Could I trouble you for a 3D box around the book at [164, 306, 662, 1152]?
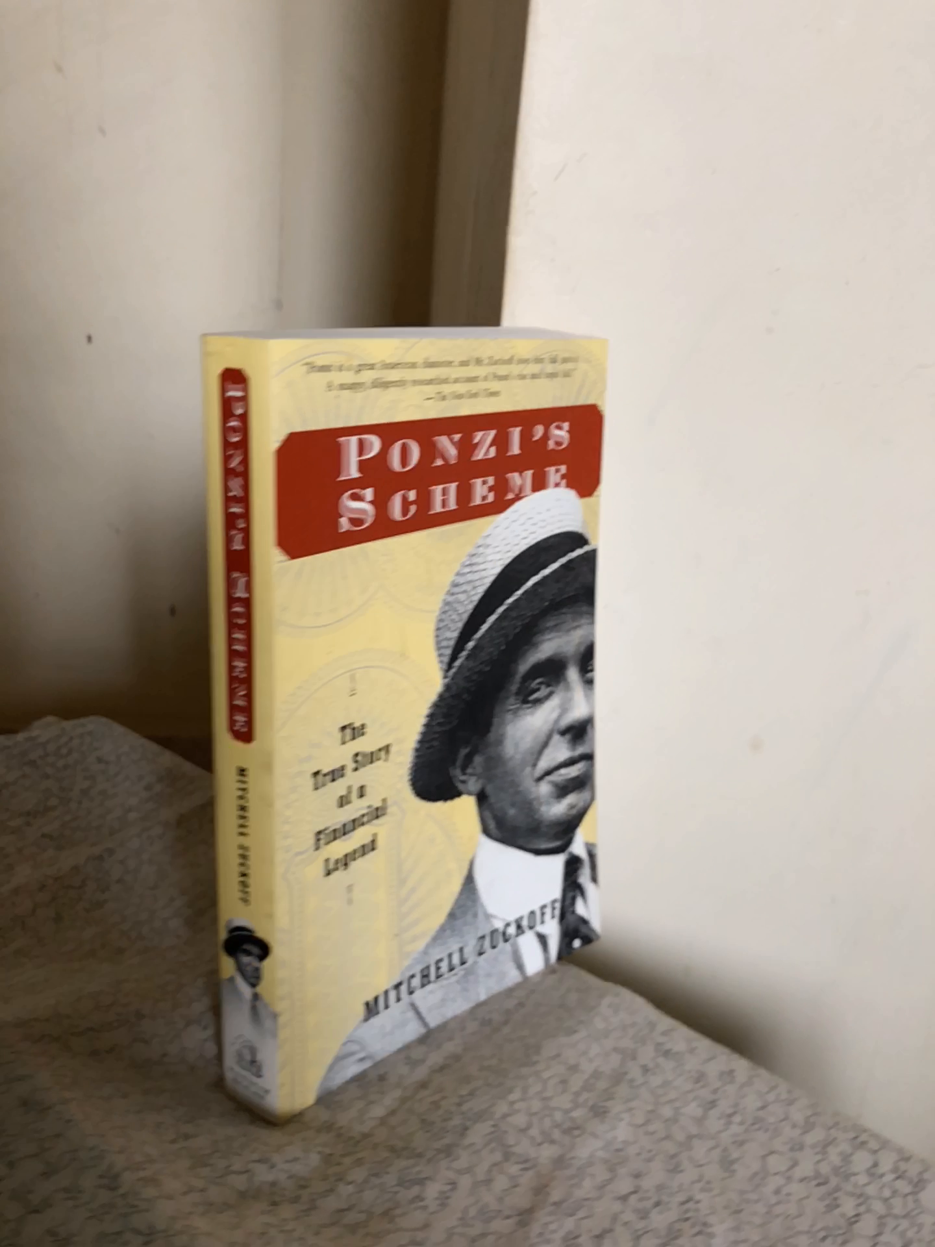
[{"bbox_3d":[-0.009,0.019,0.303,0.040,0.209,0.140,18,24,40],"label":"book"}]
